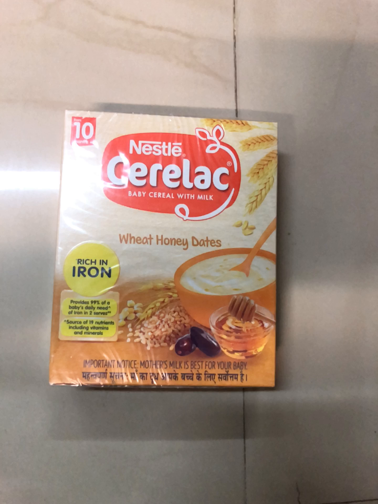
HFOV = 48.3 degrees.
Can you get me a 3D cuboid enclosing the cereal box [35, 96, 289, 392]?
[{"bbox_3d":[-0.016,-0.003,0.307,0.160,0.060,0.190,2,84,-5],"label":"cereal box"}]
